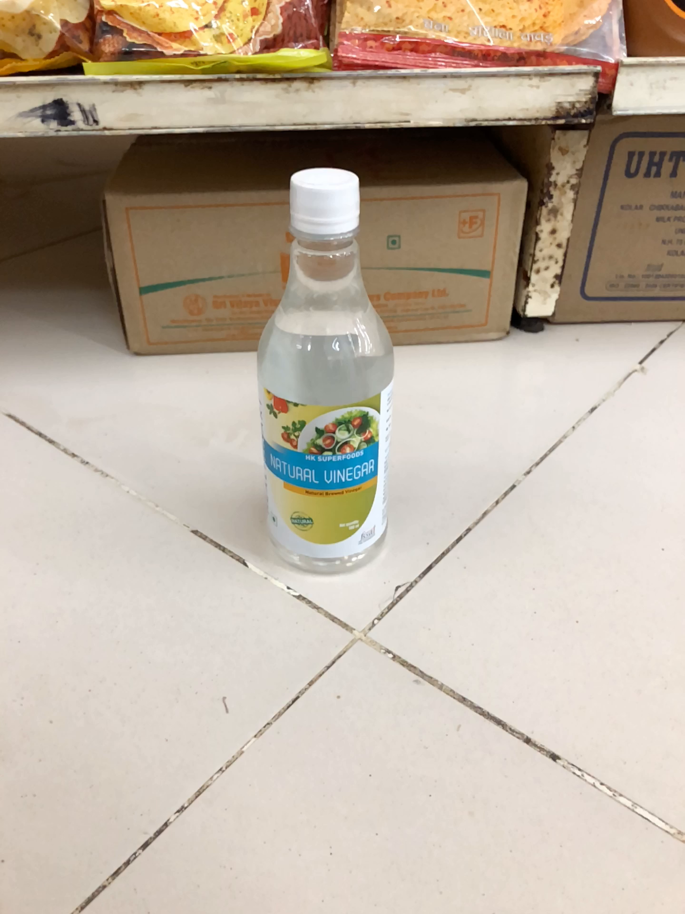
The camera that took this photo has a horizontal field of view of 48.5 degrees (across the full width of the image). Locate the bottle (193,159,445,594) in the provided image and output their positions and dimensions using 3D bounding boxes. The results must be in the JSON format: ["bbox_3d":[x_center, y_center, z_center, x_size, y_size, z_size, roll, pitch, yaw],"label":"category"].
[{"bbox_3d":[-0.007,-0.040,0.404,0.090,0.199,0.091,0,35,0],"label":"bottle"}]
